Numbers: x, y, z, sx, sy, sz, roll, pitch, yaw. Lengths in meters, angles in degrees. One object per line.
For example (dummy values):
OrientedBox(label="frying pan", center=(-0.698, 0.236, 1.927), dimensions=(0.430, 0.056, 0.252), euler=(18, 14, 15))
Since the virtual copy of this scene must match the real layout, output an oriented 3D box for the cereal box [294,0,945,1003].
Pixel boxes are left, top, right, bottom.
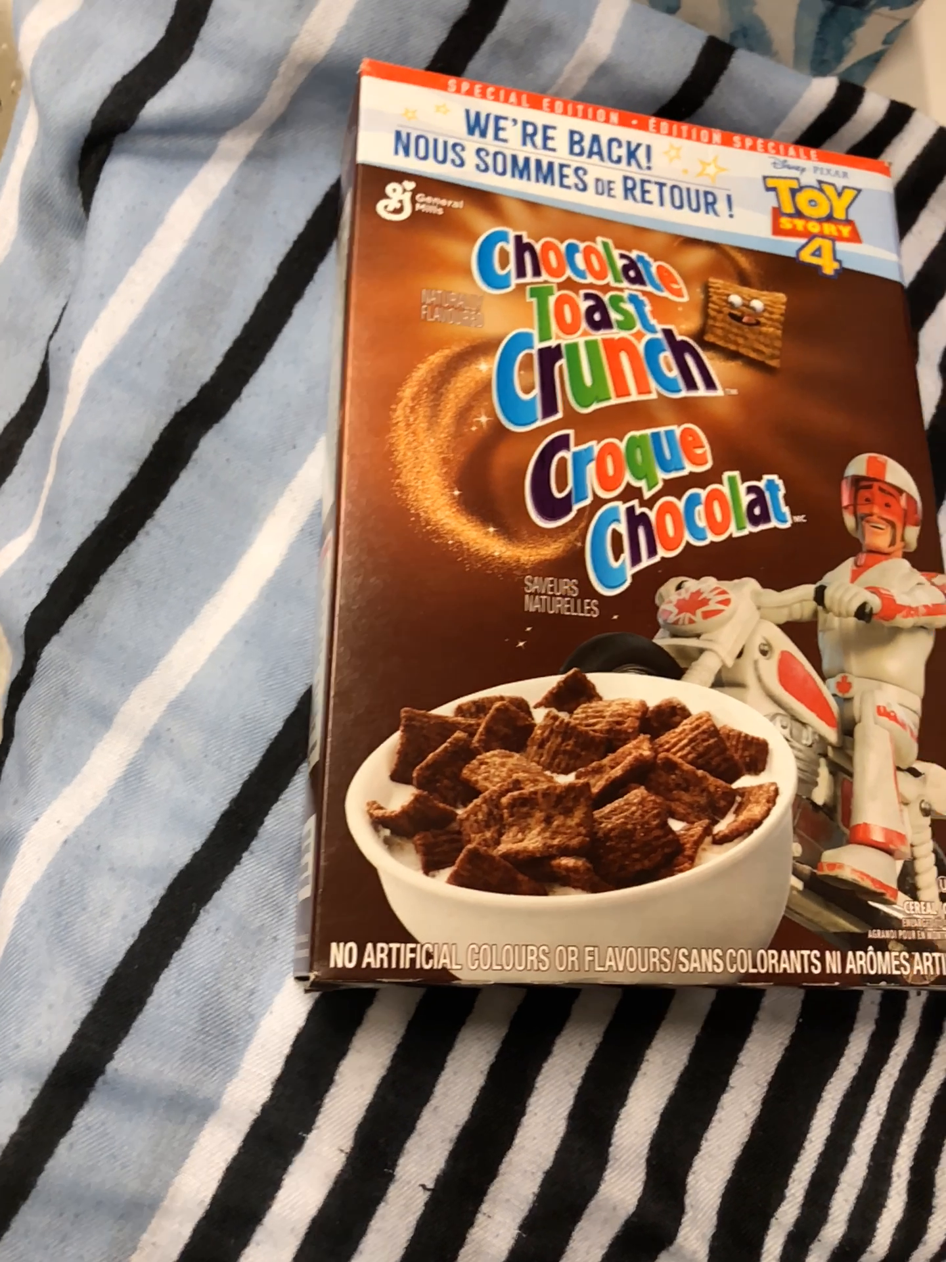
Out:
OrientedBox(label="cereal box", center=(0.060, -0.041, 0.341), dimensions=(0.210, 0.060, 0.300), euler=(5, 73, -13))
